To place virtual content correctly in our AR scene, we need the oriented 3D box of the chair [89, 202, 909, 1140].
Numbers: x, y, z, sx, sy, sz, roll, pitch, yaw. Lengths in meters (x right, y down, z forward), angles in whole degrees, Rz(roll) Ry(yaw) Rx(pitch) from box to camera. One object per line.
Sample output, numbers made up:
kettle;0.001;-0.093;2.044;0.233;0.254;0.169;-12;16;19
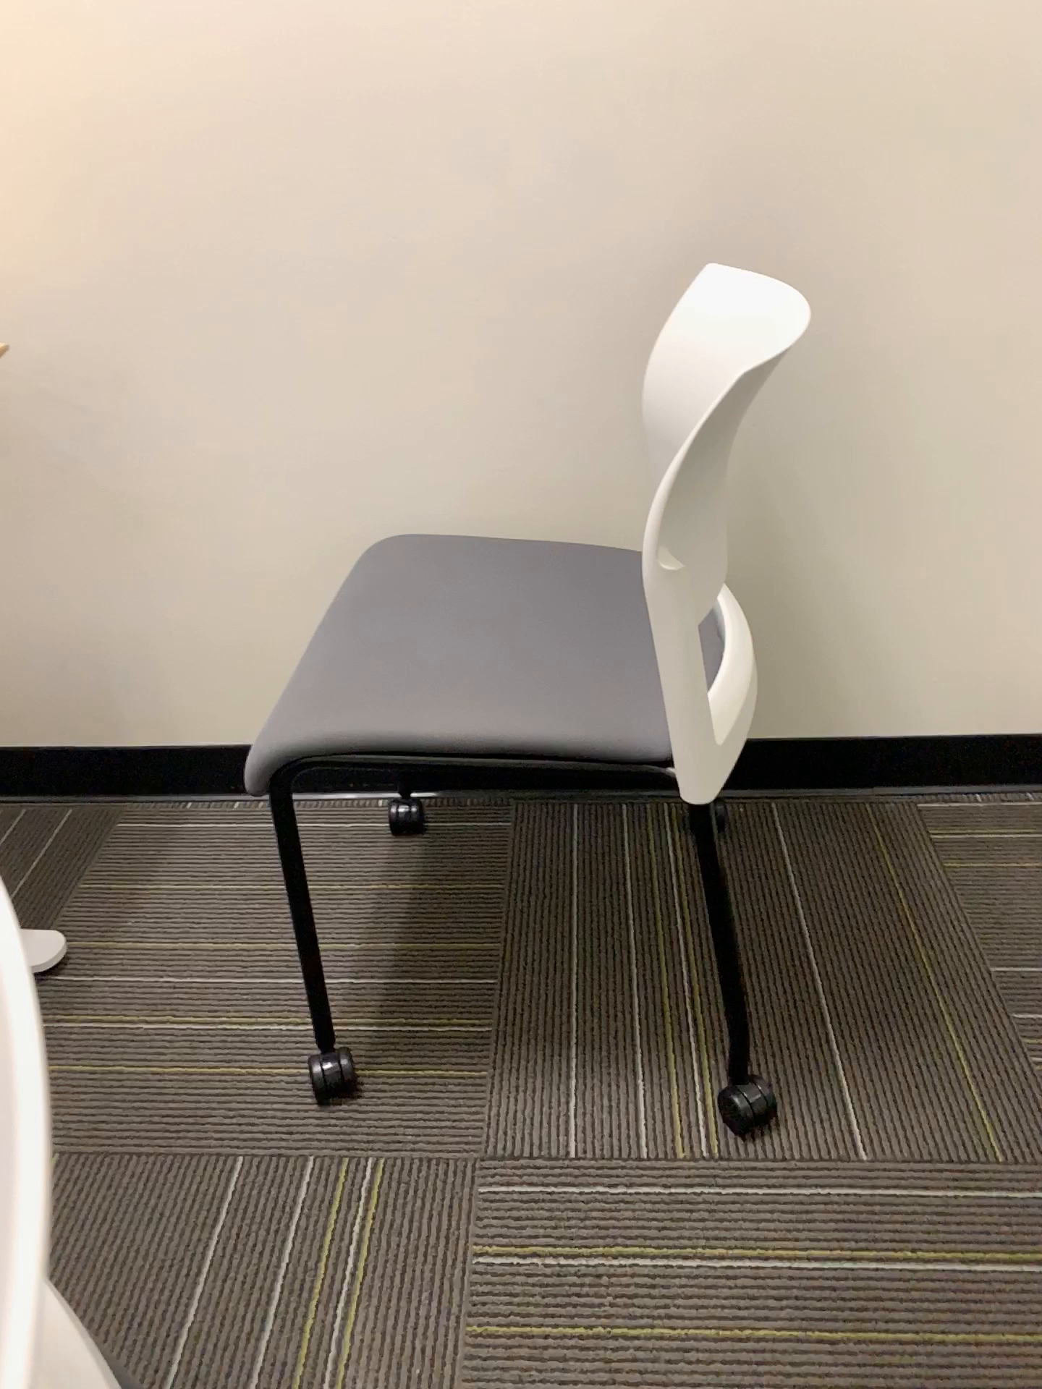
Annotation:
chair;0.014;-0.051;1.158;0.540;0.805;0.604;0;30;5
